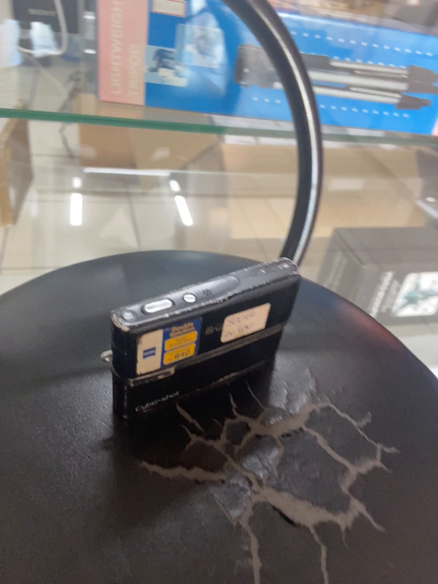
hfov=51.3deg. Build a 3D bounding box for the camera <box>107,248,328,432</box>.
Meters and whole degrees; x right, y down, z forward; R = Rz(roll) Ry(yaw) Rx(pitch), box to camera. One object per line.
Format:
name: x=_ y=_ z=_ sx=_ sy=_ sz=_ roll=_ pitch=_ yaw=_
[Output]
camera: x=0.000 y=0.020 z=0.212 sx=0.100 sy=0.060 sz=0.020 roll=-16 pitch=44 yaw=-30
